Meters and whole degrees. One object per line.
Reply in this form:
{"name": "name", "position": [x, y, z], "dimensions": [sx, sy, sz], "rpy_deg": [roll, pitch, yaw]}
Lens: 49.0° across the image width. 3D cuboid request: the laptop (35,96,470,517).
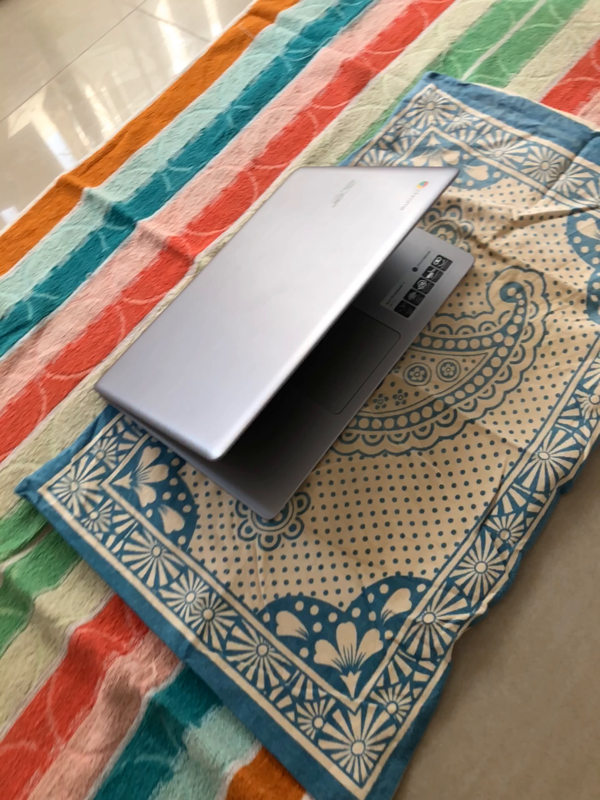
{"name": "laptop", "position": [-0.031, -0.097, 0.605], "dimensions": [0.222, 0.105, 0.320], "rpy_deg": [33, 73, 20]}
